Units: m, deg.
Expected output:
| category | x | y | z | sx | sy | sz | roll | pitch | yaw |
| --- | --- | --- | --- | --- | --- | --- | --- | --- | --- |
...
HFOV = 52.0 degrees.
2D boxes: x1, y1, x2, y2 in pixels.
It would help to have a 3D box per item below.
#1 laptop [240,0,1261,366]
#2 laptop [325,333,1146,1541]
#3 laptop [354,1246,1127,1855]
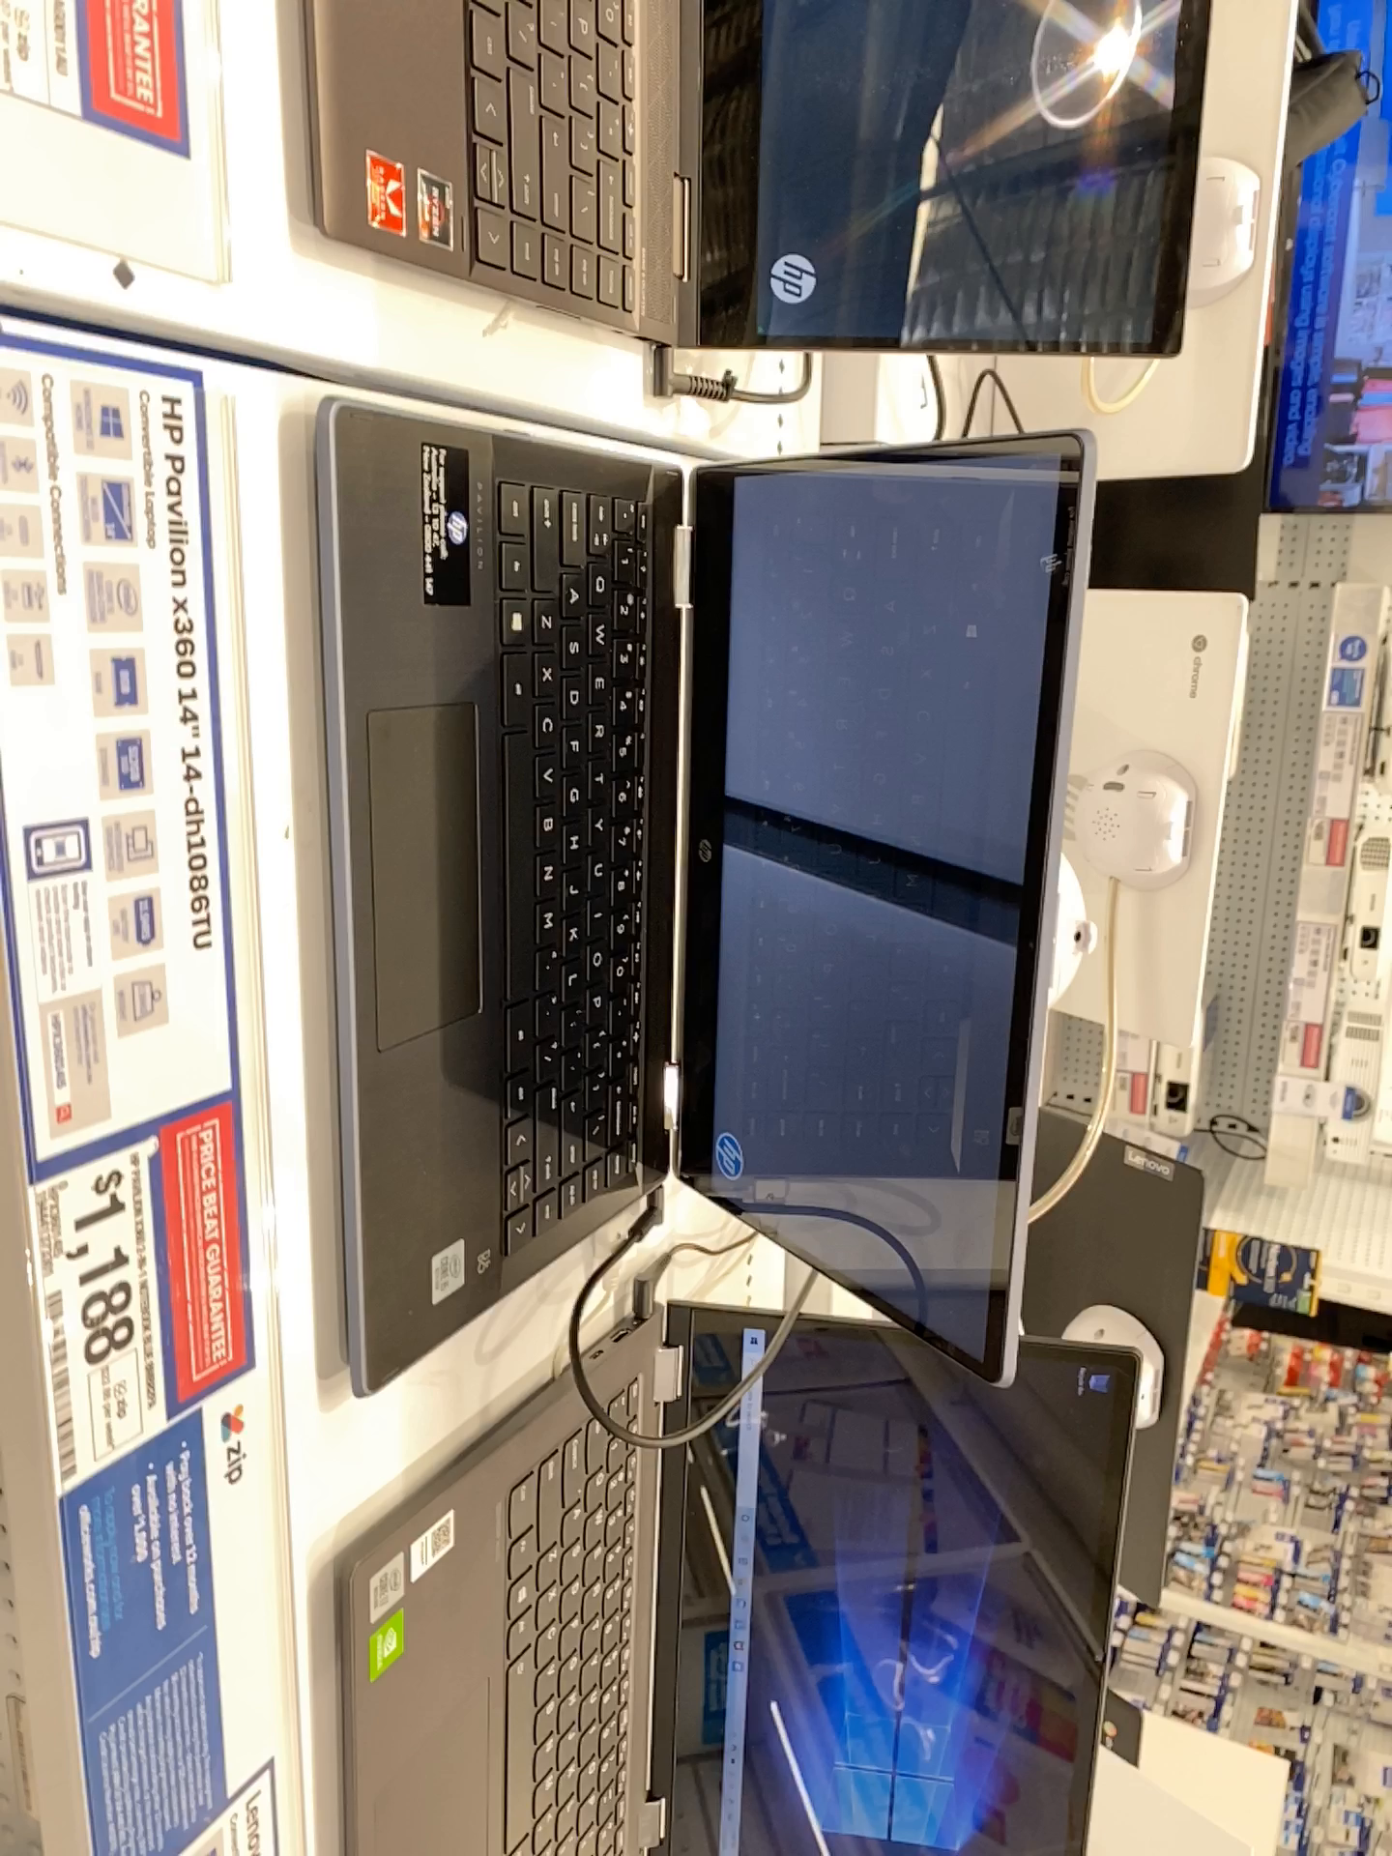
| category | x | y | z | sx | sy | sz | roll | pitch | yaw |
| --- | --- | --- | --- | --- | --- | --- | --- | --- | --- |
| laptop | 0.052 | -0.381 | 0.462 | 0.326 | 0.173 | 0.325 | -20 | 113 | -58 |
| laptop | 0.024 | -0.015 | 0.493 | 0.212 | 0.189 | 0.313 | -23 | 118 | -60 |
| laptop | 0.037 | 0.352 | 0.601 | 0.295 | 0.199 | 0.306 | -18 | 112 | -60 |
